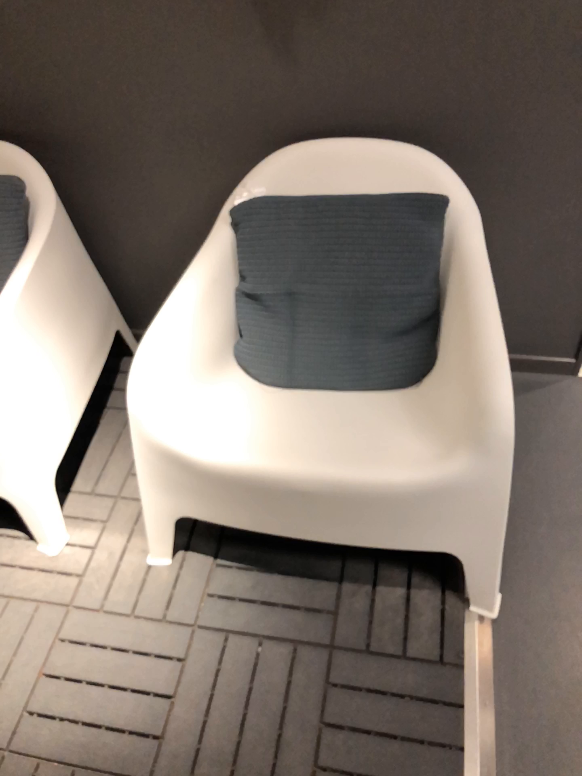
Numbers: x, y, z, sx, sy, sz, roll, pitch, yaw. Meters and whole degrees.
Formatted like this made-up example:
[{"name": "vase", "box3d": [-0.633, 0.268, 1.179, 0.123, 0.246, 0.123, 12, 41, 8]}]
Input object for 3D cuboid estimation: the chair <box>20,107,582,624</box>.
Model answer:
[{"name": "chair", "box3d": [0.096, -0.079, 1.433, 0.830, 0.765, 0.785, 4, 45, 10]}]
